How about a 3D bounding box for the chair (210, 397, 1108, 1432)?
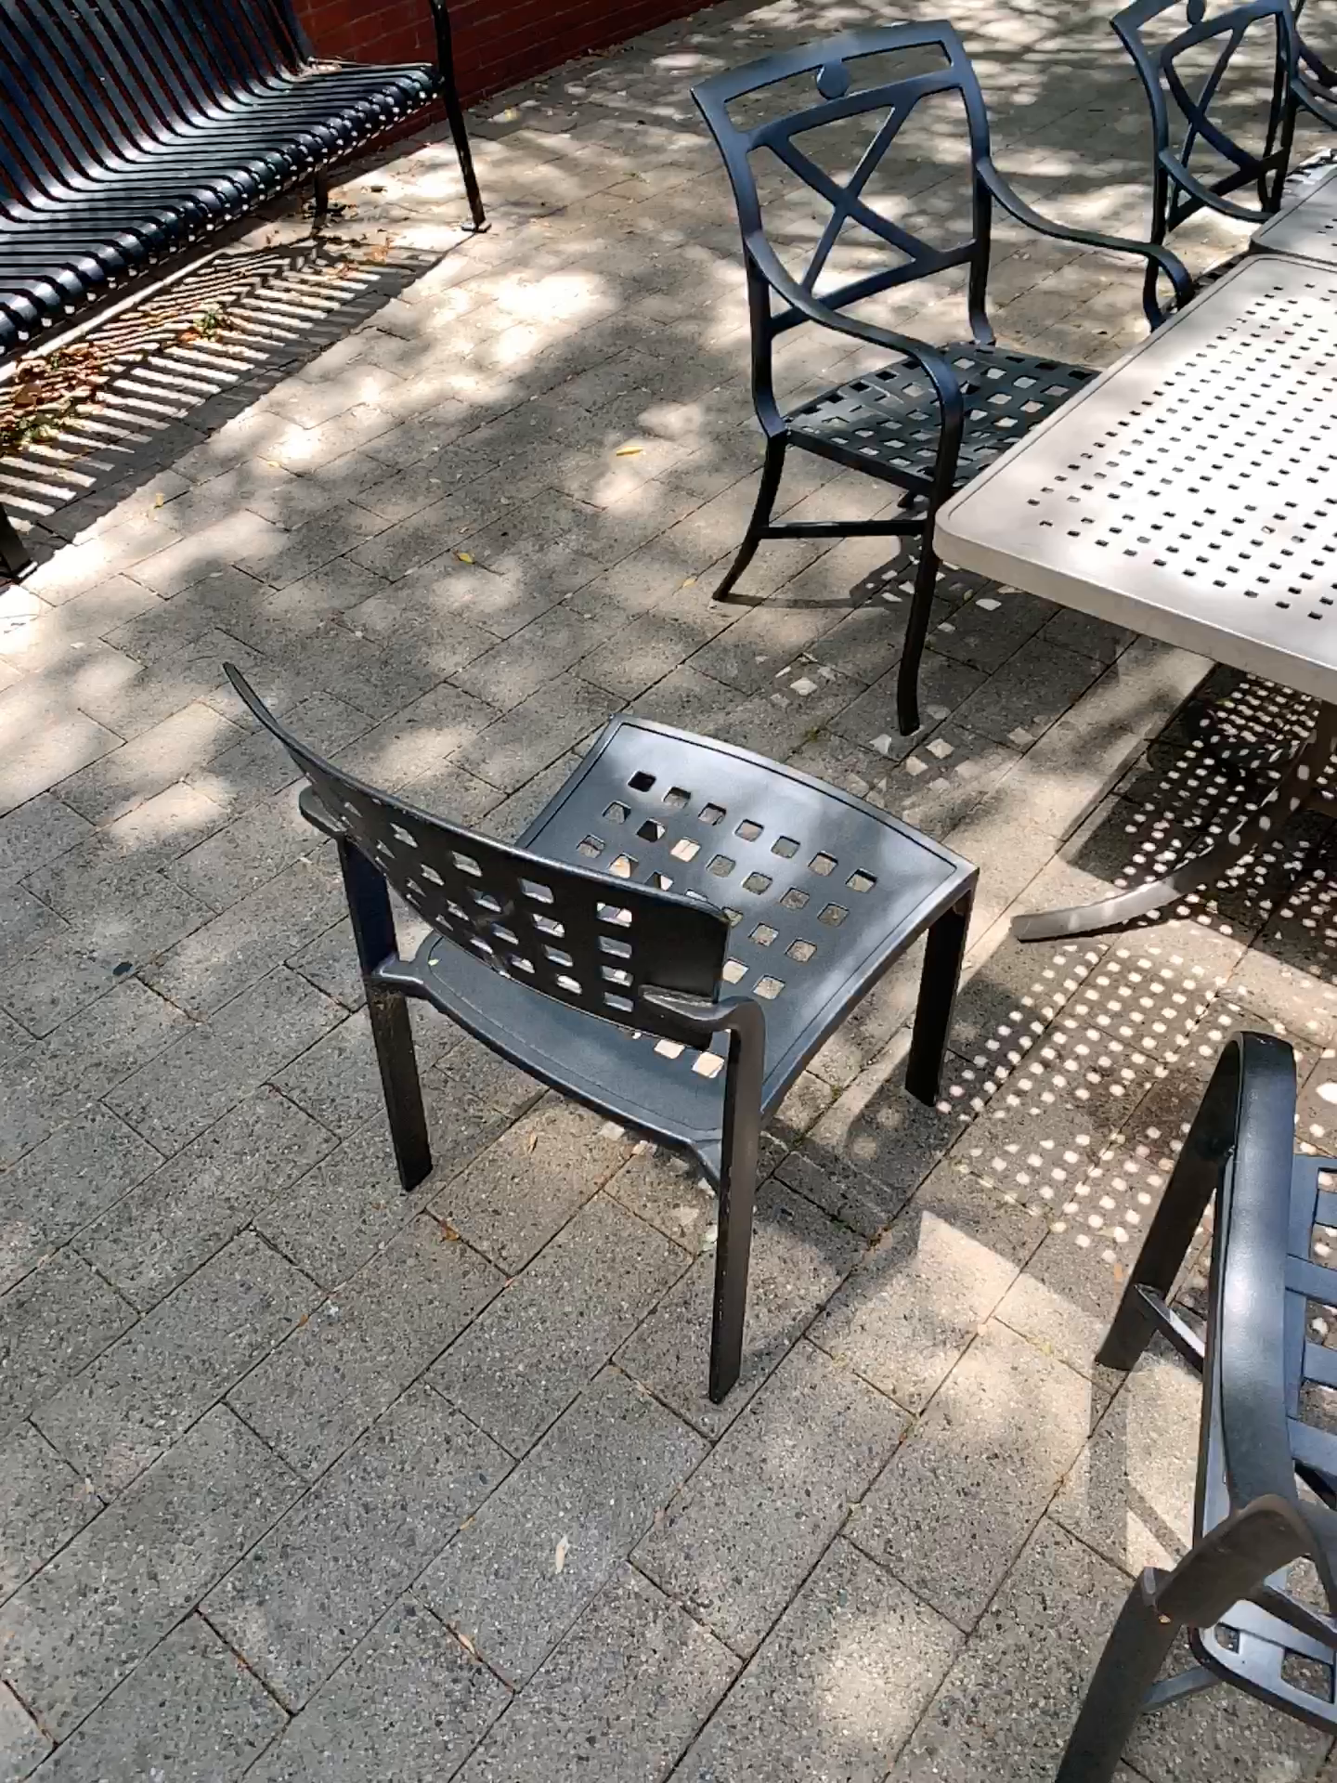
[{"bbox_3d":[0.017,0.020,1.353,0.492,0.716,0.551,28,53,27],"label":"chair"}]
